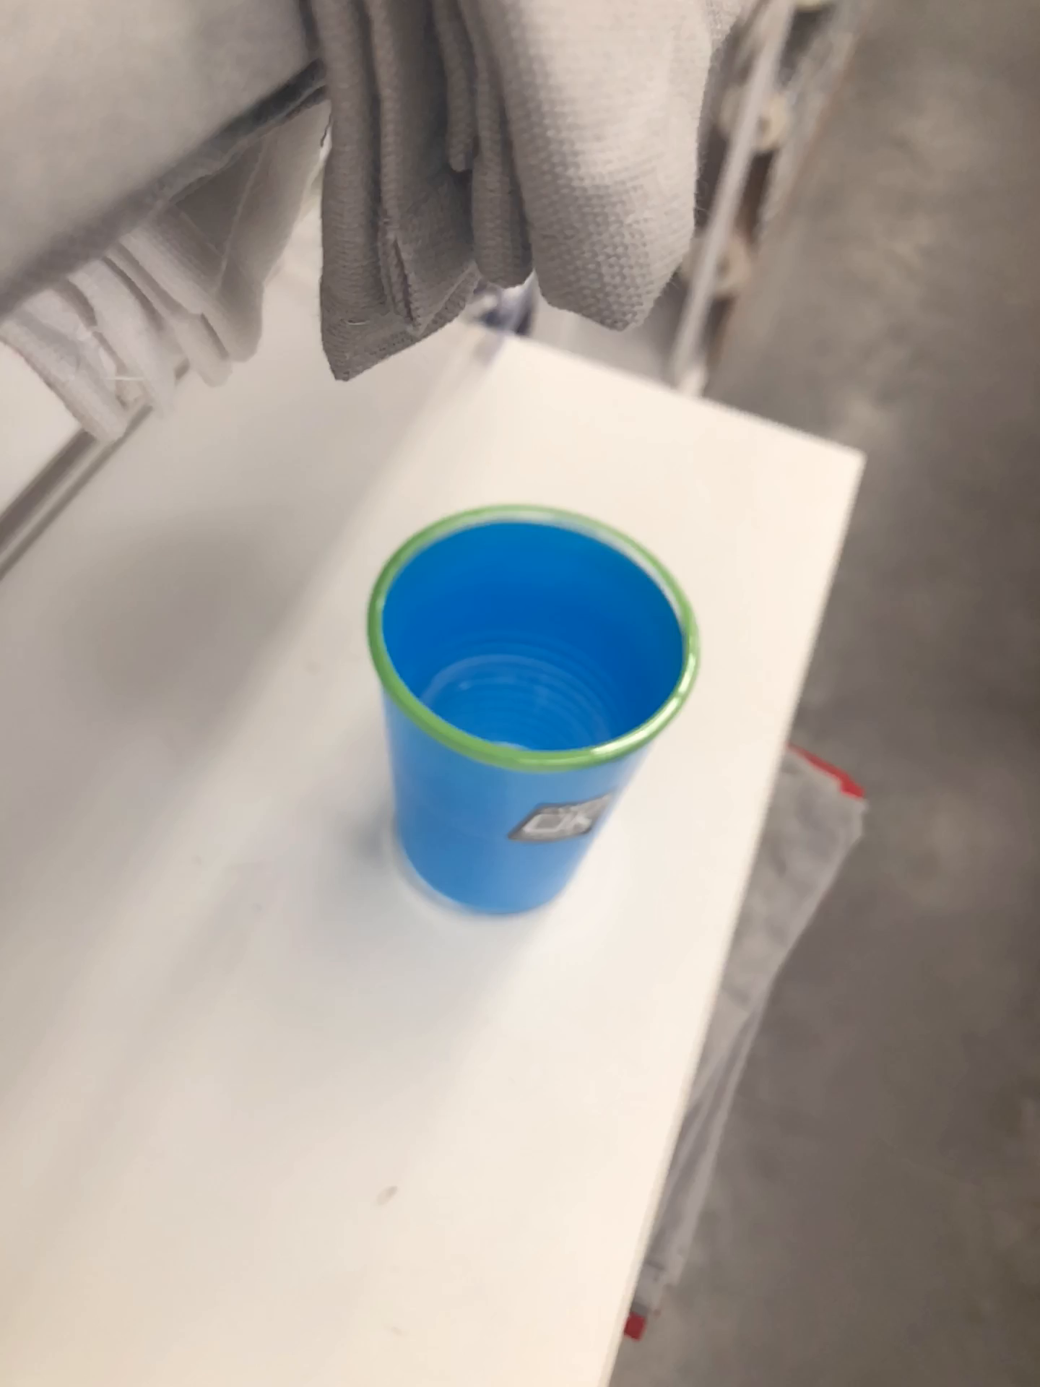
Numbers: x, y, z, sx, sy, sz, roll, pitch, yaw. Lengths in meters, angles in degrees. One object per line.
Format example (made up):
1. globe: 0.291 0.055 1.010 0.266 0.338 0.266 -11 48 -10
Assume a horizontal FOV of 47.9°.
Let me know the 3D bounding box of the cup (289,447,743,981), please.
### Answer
1. cup: -0.003 0.007 0.310 0.083 0.090 0.081 4 53 -6
